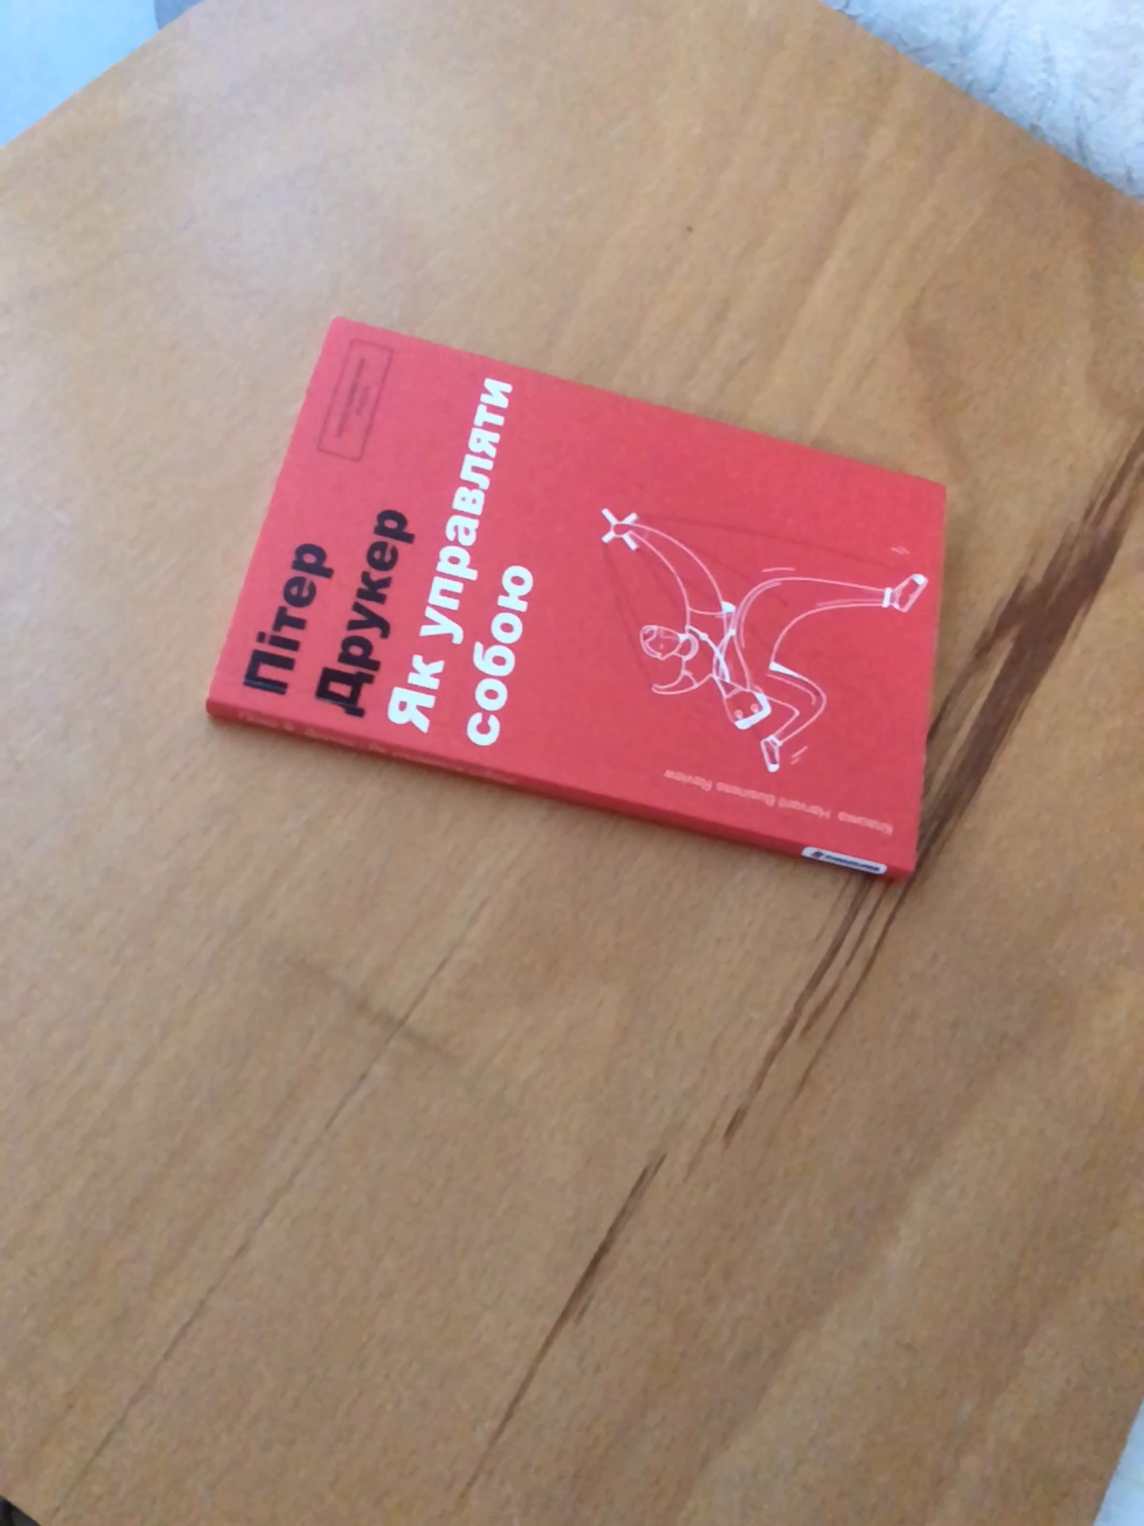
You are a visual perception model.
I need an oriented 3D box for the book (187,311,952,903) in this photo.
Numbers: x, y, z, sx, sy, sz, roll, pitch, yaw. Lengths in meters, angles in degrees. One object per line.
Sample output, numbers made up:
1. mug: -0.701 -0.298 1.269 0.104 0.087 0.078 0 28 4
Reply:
1. book: 0.007 -0.040 0.303 0.164 0.013 0.112 14 67 -5
